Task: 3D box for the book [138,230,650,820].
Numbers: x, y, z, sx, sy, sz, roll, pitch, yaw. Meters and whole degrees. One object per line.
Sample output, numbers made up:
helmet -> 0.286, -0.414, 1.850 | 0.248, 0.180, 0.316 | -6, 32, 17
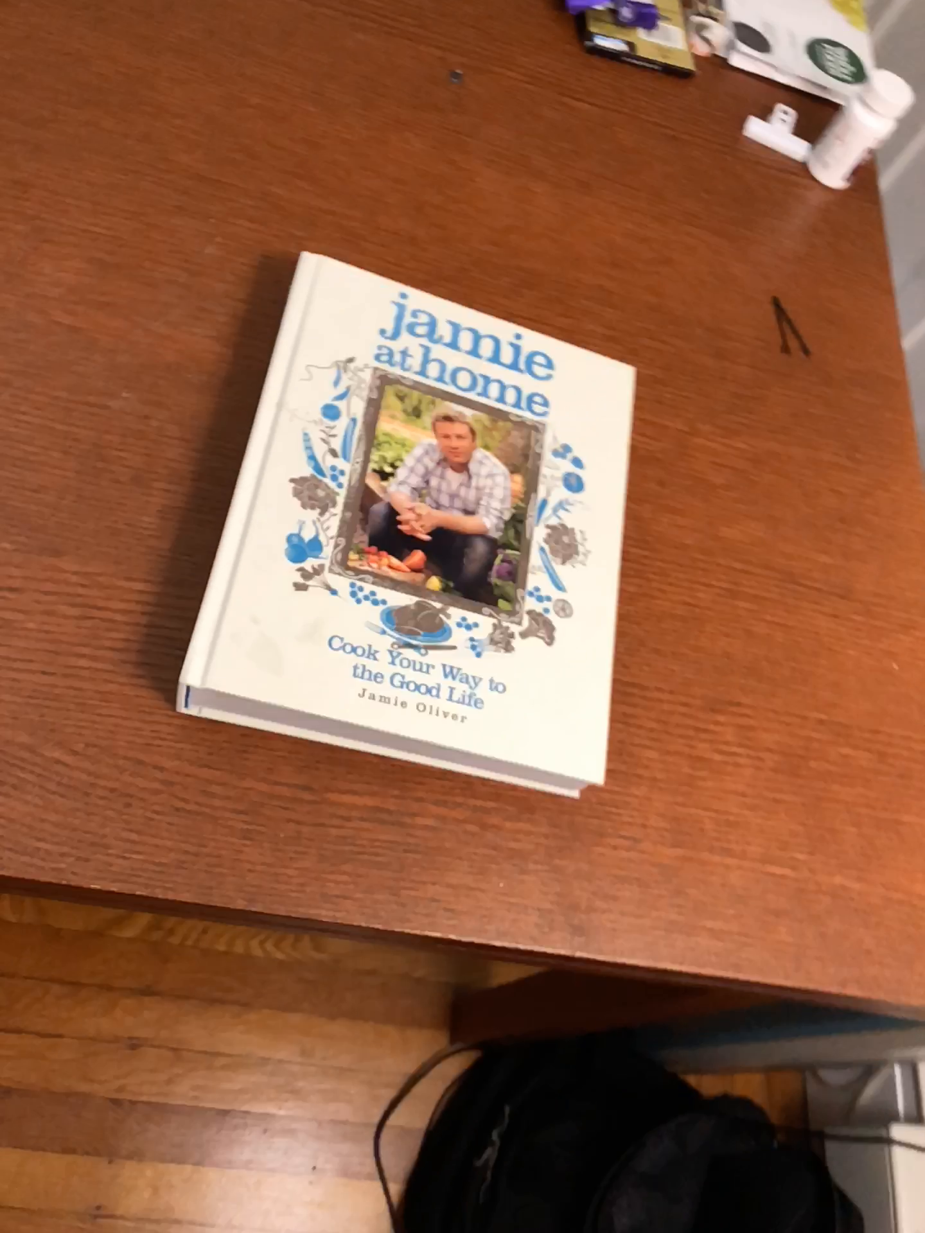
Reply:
book -> -0.017, -0.052, 0.508 | 0.210, 0.040, 0.261 | 15, 61, -12
